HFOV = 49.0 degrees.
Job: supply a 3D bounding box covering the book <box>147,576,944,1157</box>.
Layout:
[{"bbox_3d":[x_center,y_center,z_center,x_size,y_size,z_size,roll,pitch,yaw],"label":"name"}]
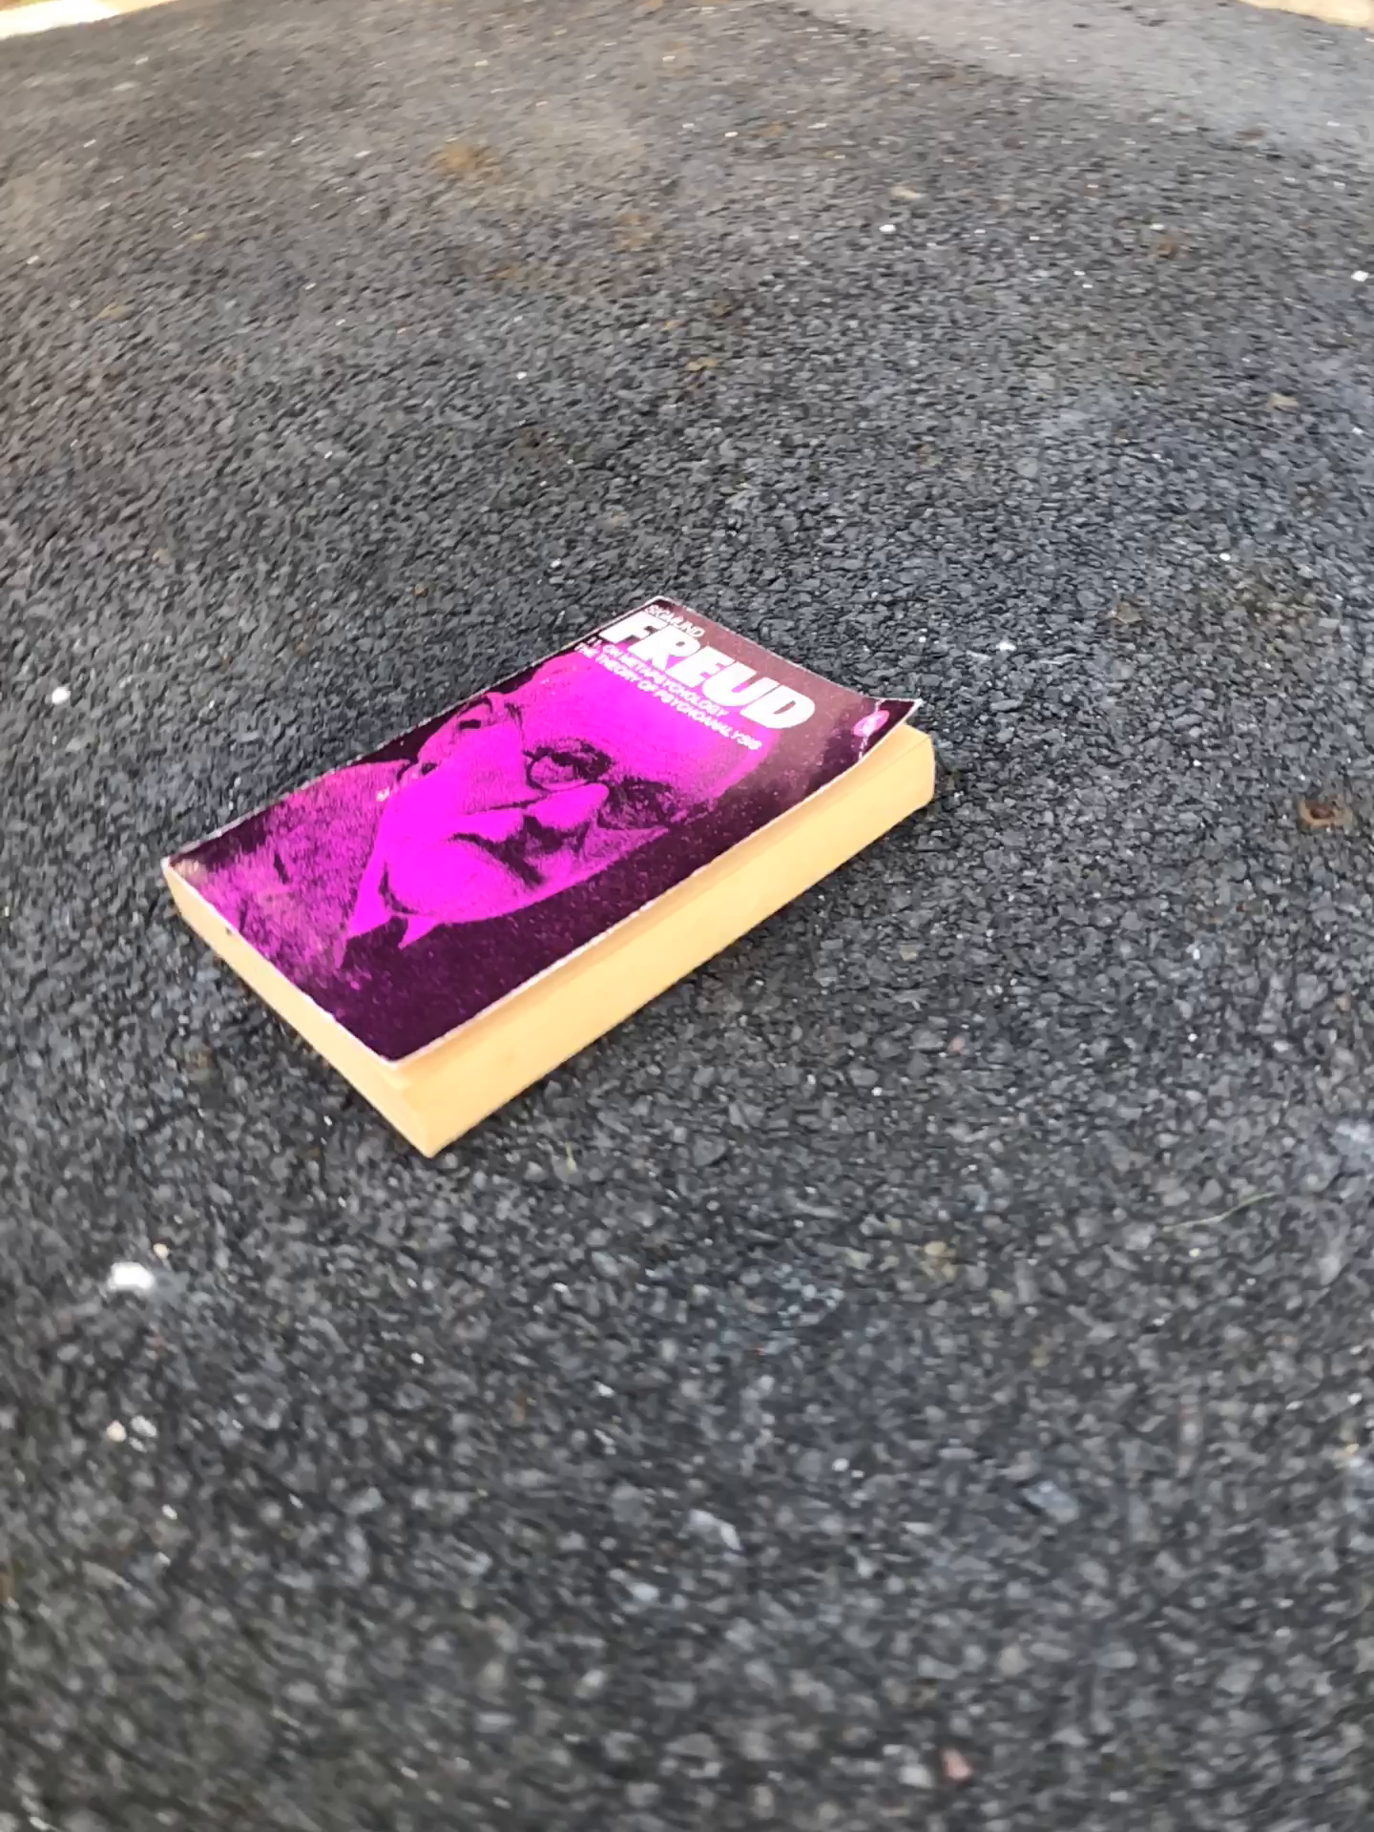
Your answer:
[{"bbox_3d":[-0.039,-0.029,0.449,0.195,0.031,0.131,-33,48,-27],"label":"book"}]
